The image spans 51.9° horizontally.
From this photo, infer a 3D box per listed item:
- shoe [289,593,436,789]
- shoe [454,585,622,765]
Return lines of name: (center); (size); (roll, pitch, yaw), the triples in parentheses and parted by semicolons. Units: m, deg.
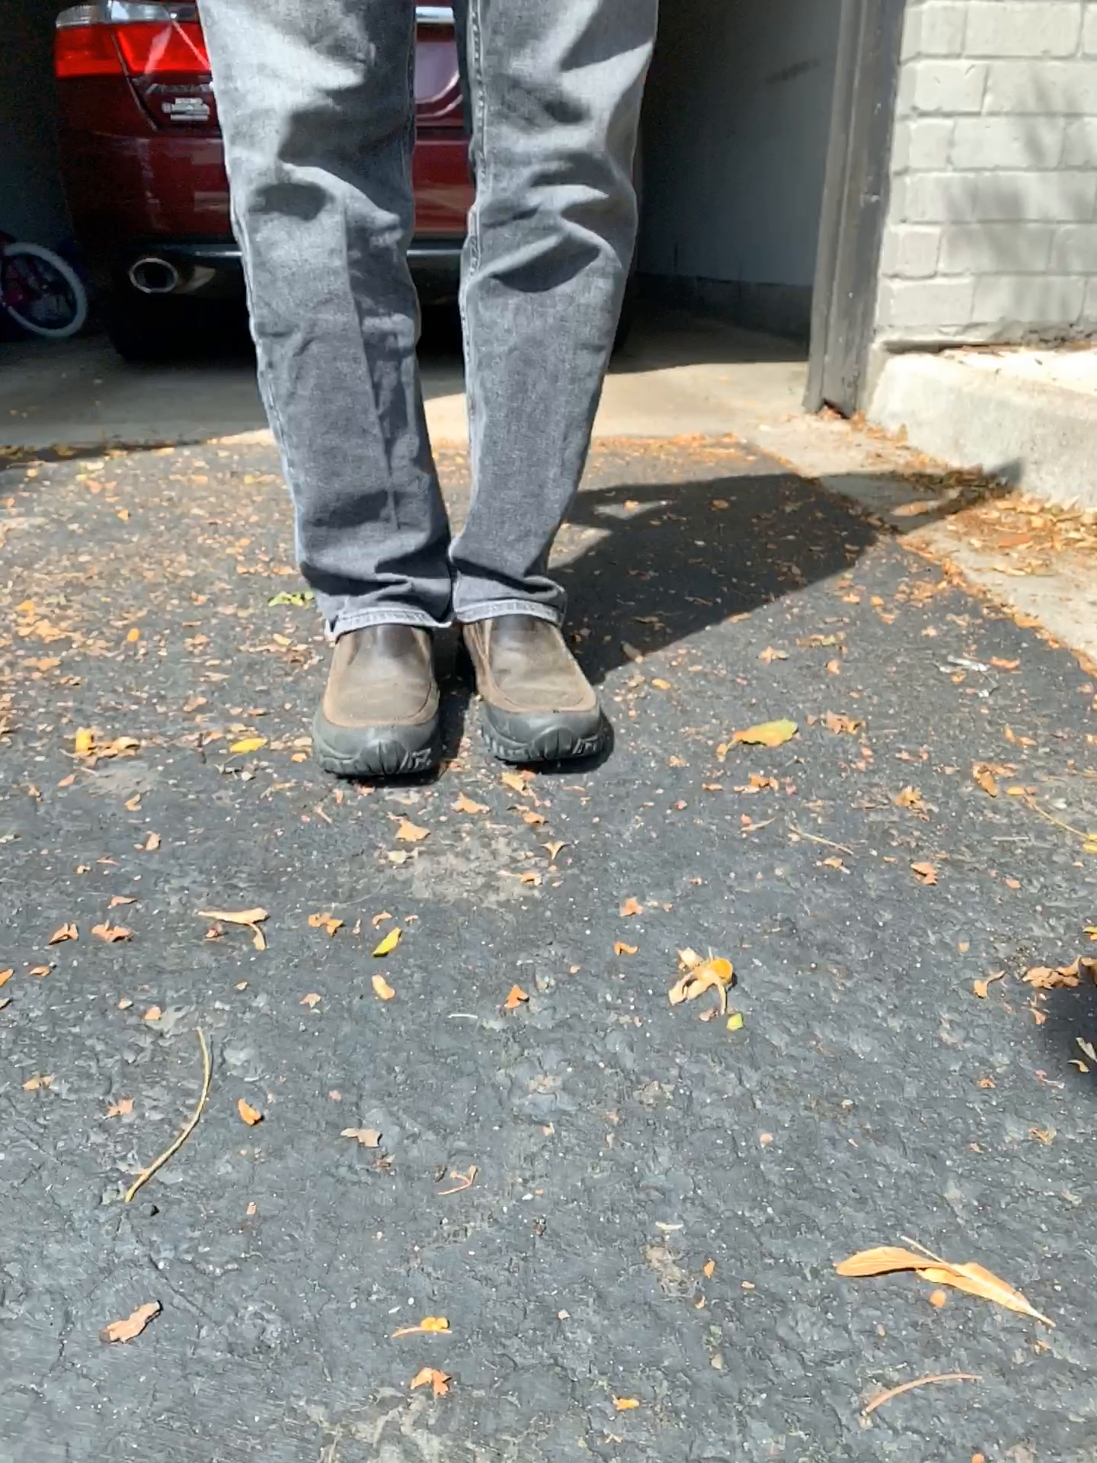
shoe: (-0.158, -0.047, 1.017); (0.110, 0.070, 0.291); (-2, 24, -5)
shoe: (-0.019, -0.062, 1.036); (0.110, 0.070, 0.291); (-3, 22, -9)
